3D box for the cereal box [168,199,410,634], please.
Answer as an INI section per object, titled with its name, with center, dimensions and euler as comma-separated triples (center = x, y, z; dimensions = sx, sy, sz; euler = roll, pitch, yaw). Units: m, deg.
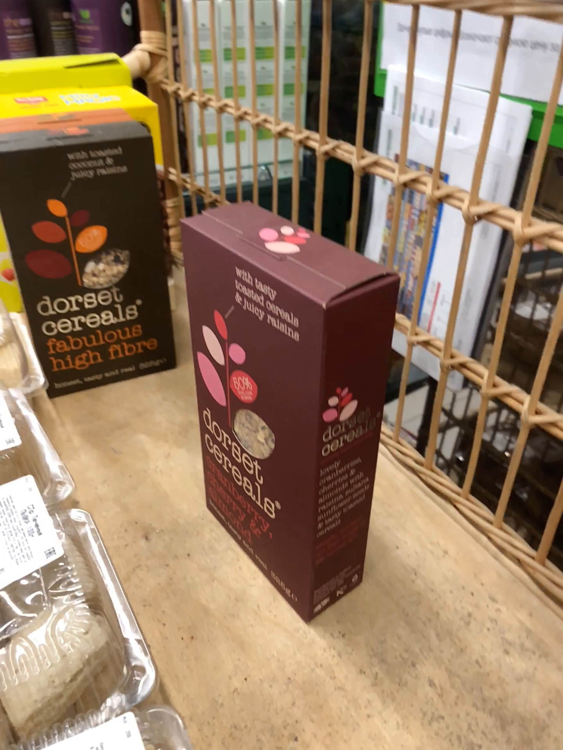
[cereal box]
center = -0.004, 0.025, 0.350
dimensions = 0.050, 0.209, 0.120
euler = -22, 41, -31
